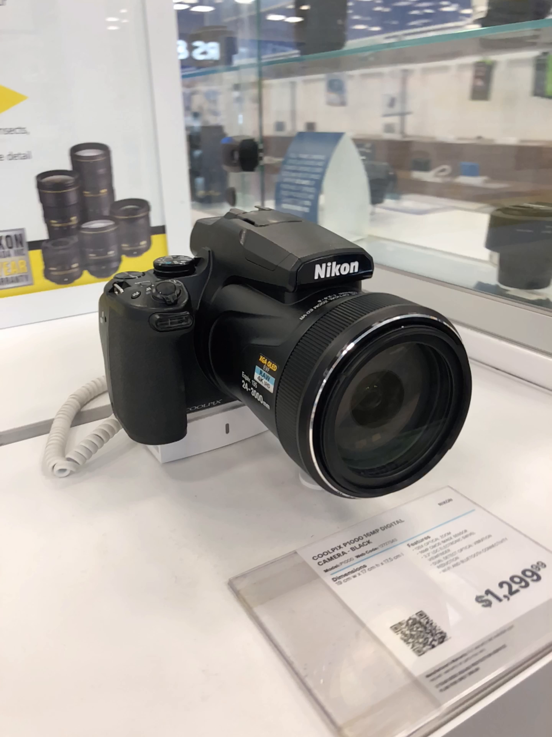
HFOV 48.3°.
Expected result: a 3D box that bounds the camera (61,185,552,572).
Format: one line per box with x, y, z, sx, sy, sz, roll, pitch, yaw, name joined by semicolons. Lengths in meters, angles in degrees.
0.001;-0.024;0.318;0.160;0.110;0.191;-14;25;-27;camera
